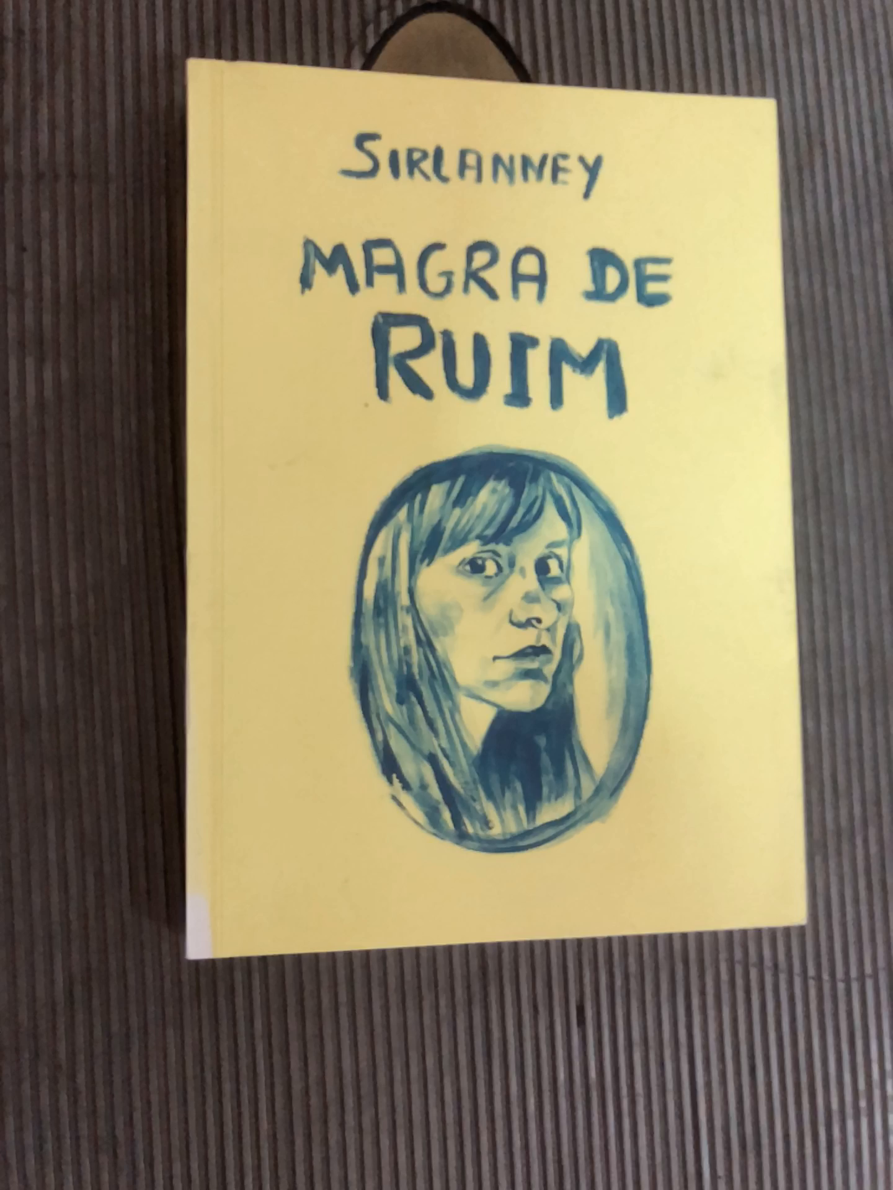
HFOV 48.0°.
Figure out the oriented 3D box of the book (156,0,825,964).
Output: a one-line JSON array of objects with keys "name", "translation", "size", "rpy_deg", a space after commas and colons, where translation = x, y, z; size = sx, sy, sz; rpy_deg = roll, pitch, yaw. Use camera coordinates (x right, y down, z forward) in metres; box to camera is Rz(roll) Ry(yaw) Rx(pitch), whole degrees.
[{"name": "book", "translation": [0.012, -0.027, 0.236], "size": [0.150, 0.020, 0.210], "rpy_deg": [0, 87, -9]}]
